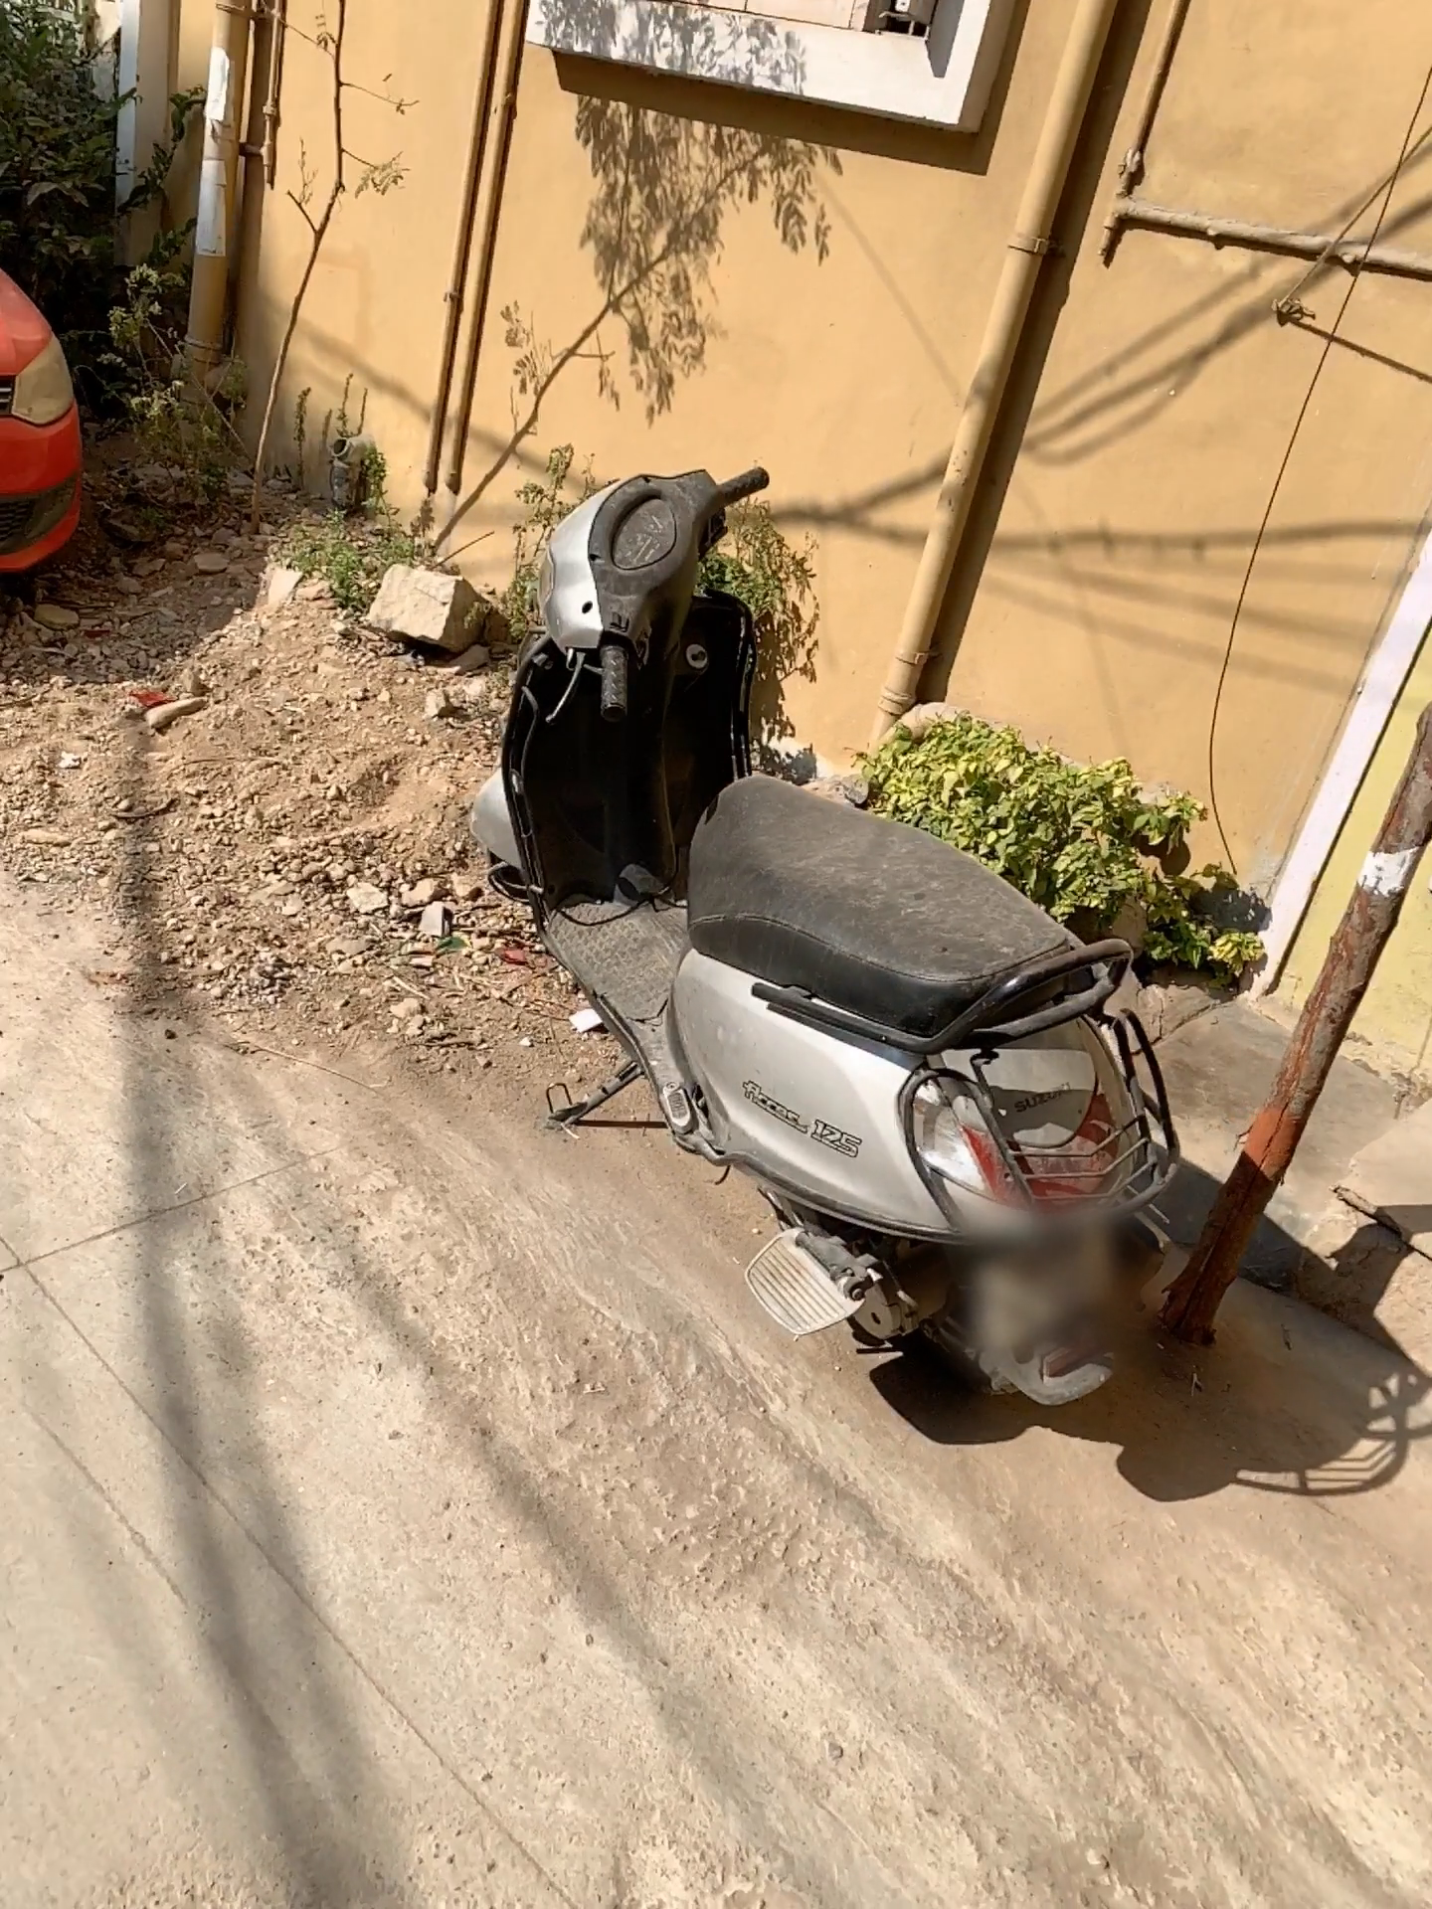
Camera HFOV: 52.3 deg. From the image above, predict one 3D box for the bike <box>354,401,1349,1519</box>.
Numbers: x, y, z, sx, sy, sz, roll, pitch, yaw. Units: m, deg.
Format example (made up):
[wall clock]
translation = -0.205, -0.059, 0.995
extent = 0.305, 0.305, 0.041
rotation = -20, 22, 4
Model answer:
[bike]
translation = 0.001, -0.145, 2.239
extent = 0.550, 1.001, 1.512
rotation = -5, 31, -33
